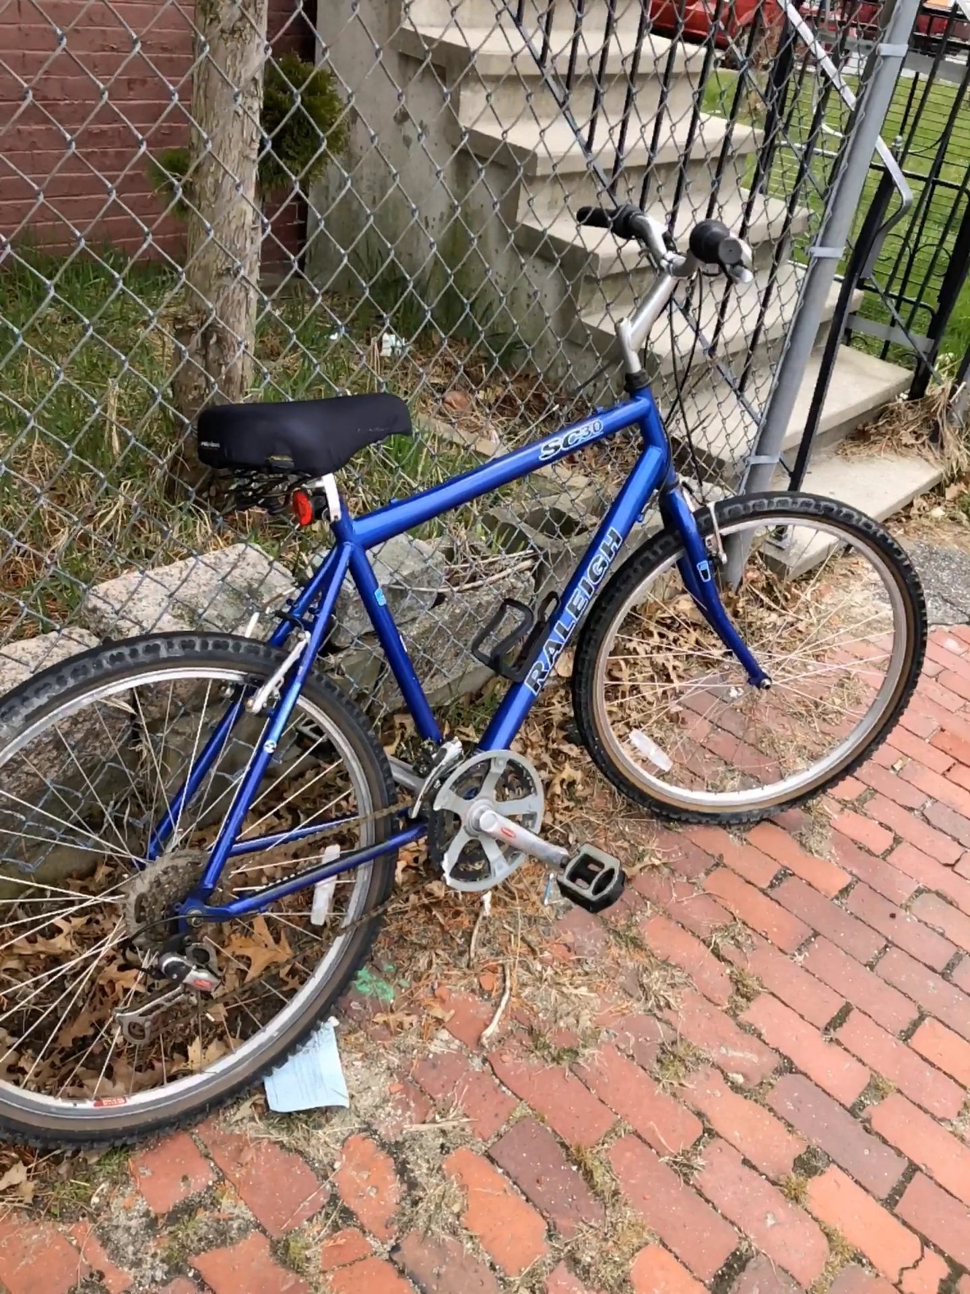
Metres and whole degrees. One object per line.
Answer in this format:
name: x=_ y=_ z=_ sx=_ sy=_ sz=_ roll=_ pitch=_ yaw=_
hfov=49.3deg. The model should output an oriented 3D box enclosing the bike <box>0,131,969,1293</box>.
bike: x=-0.042 y=-0.094 z=1.494 sx=1.670 sy=1.023 sz=0.681 roll=-16 pitch=38 yaw=-28
